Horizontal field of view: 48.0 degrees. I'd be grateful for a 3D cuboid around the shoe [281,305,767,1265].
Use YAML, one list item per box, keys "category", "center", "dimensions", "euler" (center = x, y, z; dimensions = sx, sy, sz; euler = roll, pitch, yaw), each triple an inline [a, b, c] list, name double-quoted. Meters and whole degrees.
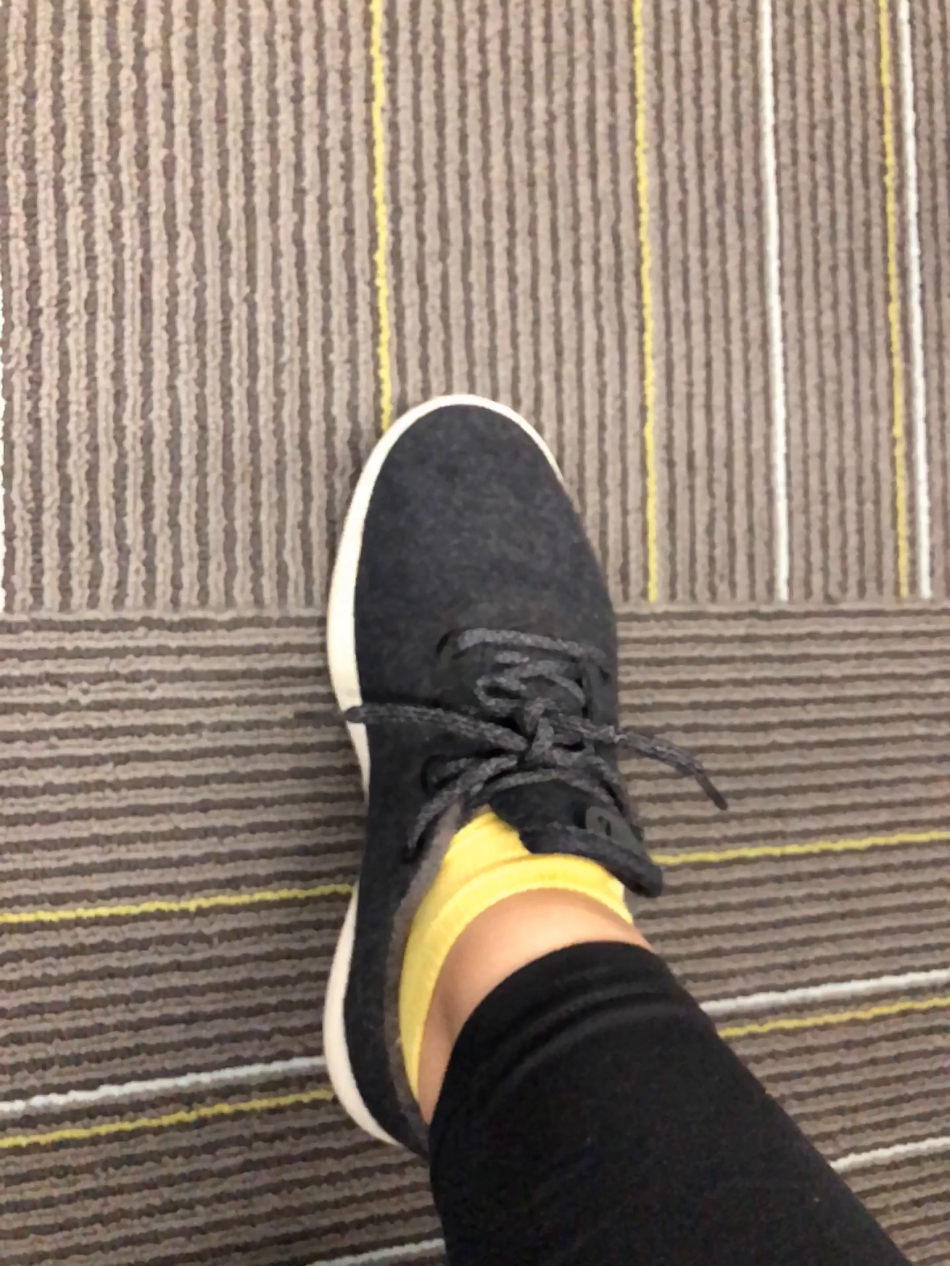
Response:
- category: "shoe"
  center: [0.013, 0.046, 0.341]
  dimensions: [0.120, 0.080, 0.260]
  euler: [4, 87, -18]
